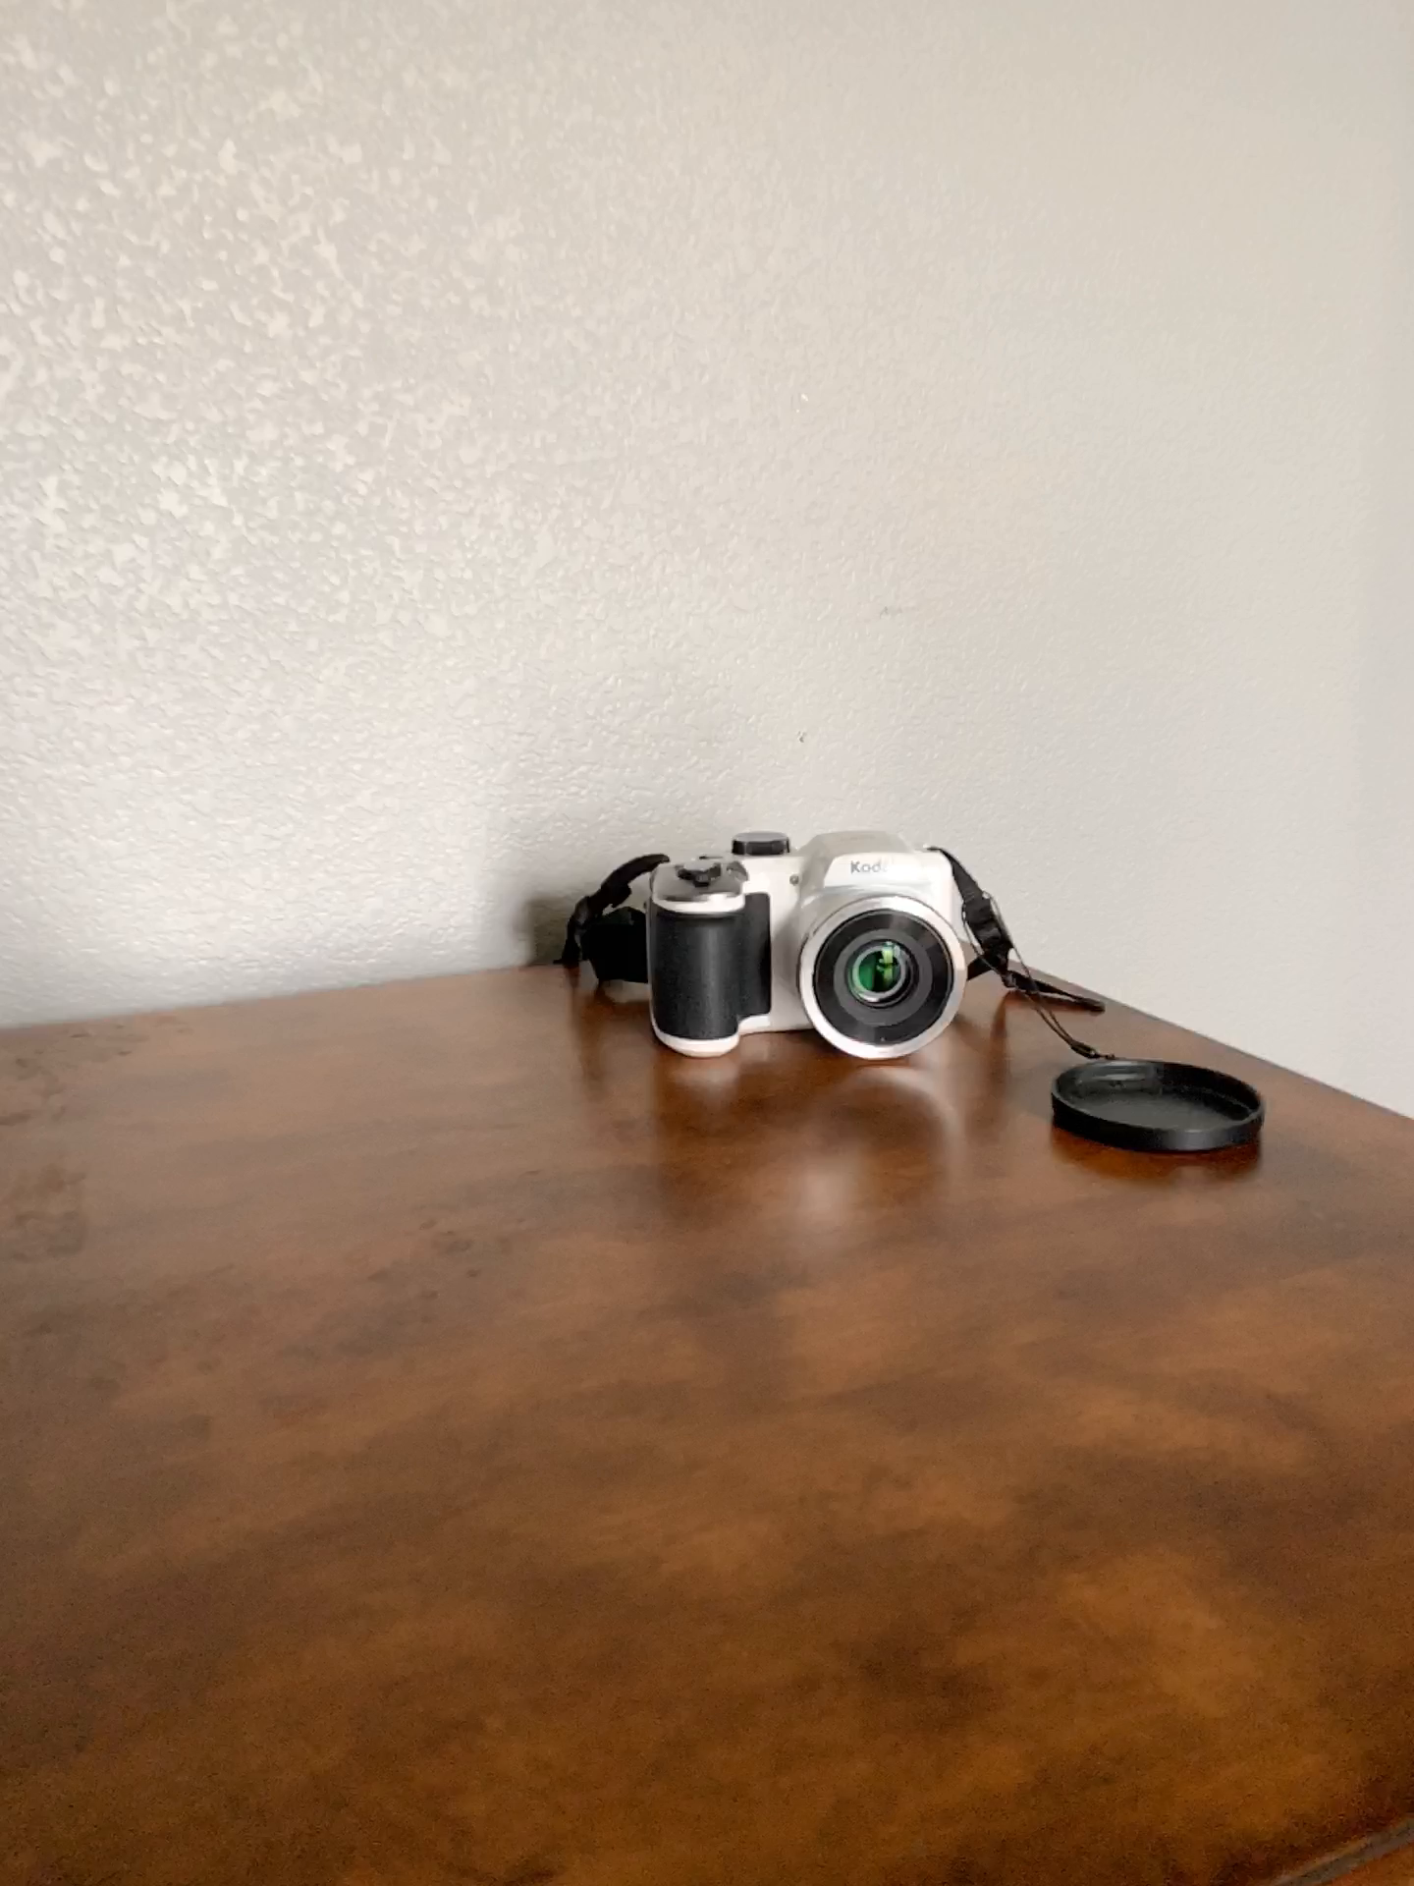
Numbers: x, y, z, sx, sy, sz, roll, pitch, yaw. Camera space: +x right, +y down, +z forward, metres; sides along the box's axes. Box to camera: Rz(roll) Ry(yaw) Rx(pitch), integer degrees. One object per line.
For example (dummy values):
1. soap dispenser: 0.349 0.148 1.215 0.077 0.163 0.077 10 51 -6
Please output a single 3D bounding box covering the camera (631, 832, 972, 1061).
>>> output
1. camera: 0.036 0.000 0.544 0.119 0.071 0.070 -1 12 4
